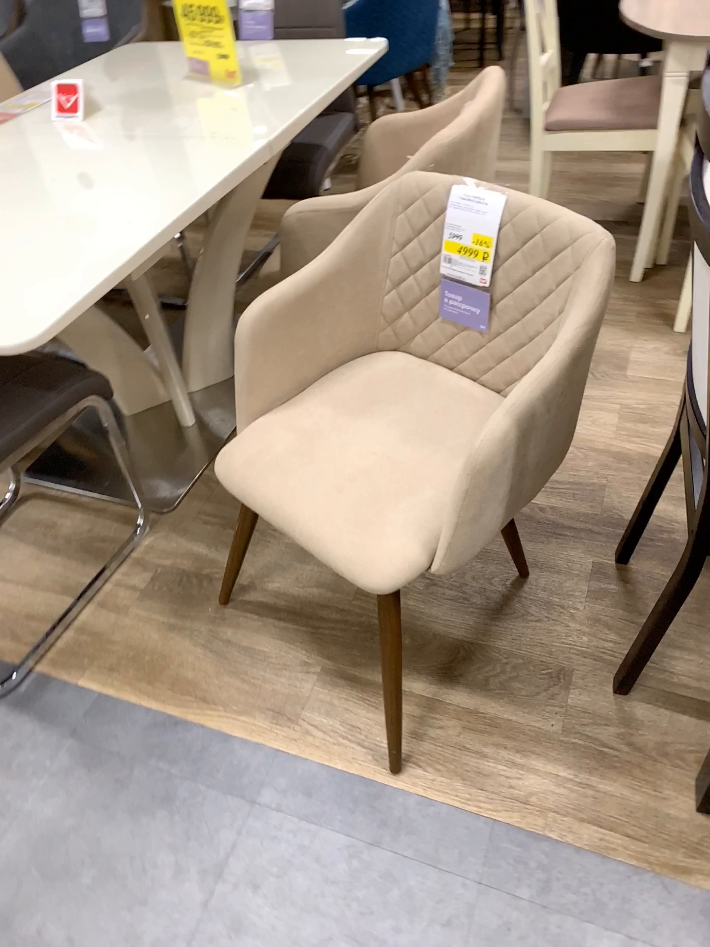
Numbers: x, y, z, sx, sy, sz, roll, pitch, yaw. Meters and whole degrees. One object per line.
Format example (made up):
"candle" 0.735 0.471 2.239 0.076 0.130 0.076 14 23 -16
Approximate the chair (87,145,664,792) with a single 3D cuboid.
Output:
"chair" 0.052 -0.020 1.319 0.571 0.836 0.602 -35 49 -27
